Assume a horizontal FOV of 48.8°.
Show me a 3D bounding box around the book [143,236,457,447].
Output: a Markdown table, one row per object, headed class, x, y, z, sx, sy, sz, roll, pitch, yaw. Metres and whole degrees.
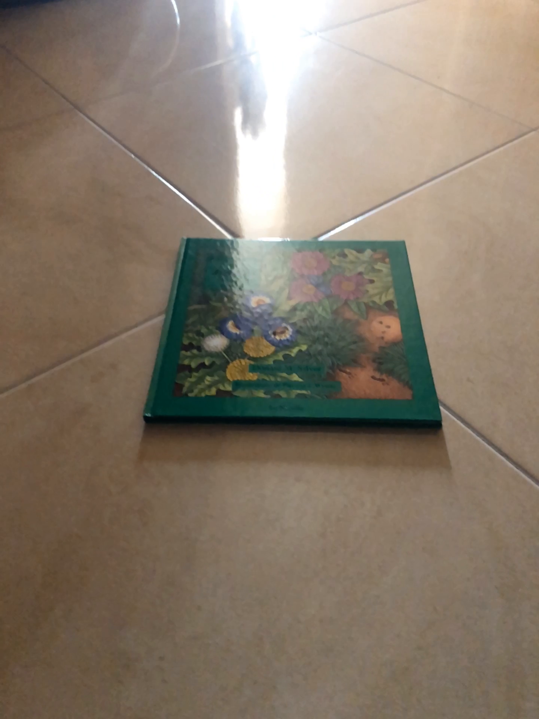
| class | x | y | z | sx | sy | sz | roll | pitch | yaw |
| --- | --- | --- | --- | --- | --- | --- | --- | --- | --- |
| book | 0.026 | -0.030 | 0.546 | 0.240 | 0.030 | 0.241 | 0 | 47 | 2 |
